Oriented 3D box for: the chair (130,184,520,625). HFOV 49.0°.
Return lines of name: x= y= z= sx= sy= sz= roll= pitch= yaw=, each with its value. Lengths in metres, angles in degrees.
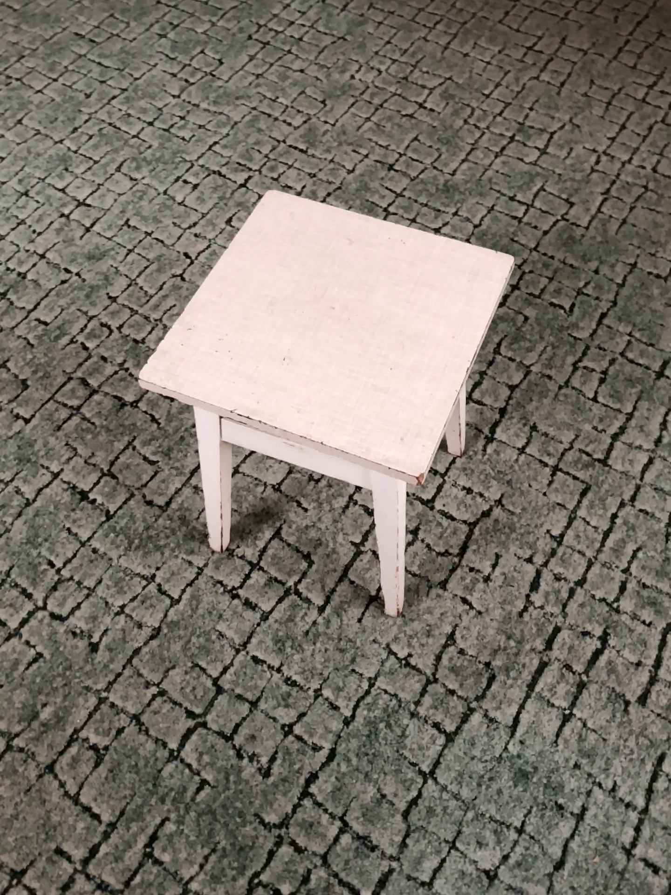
chair: x=0.006 y=-0.037 z=1.022 sx=0.334 sy=0.447 sz=0.333 roll=19 pitch=62 yaw=13
